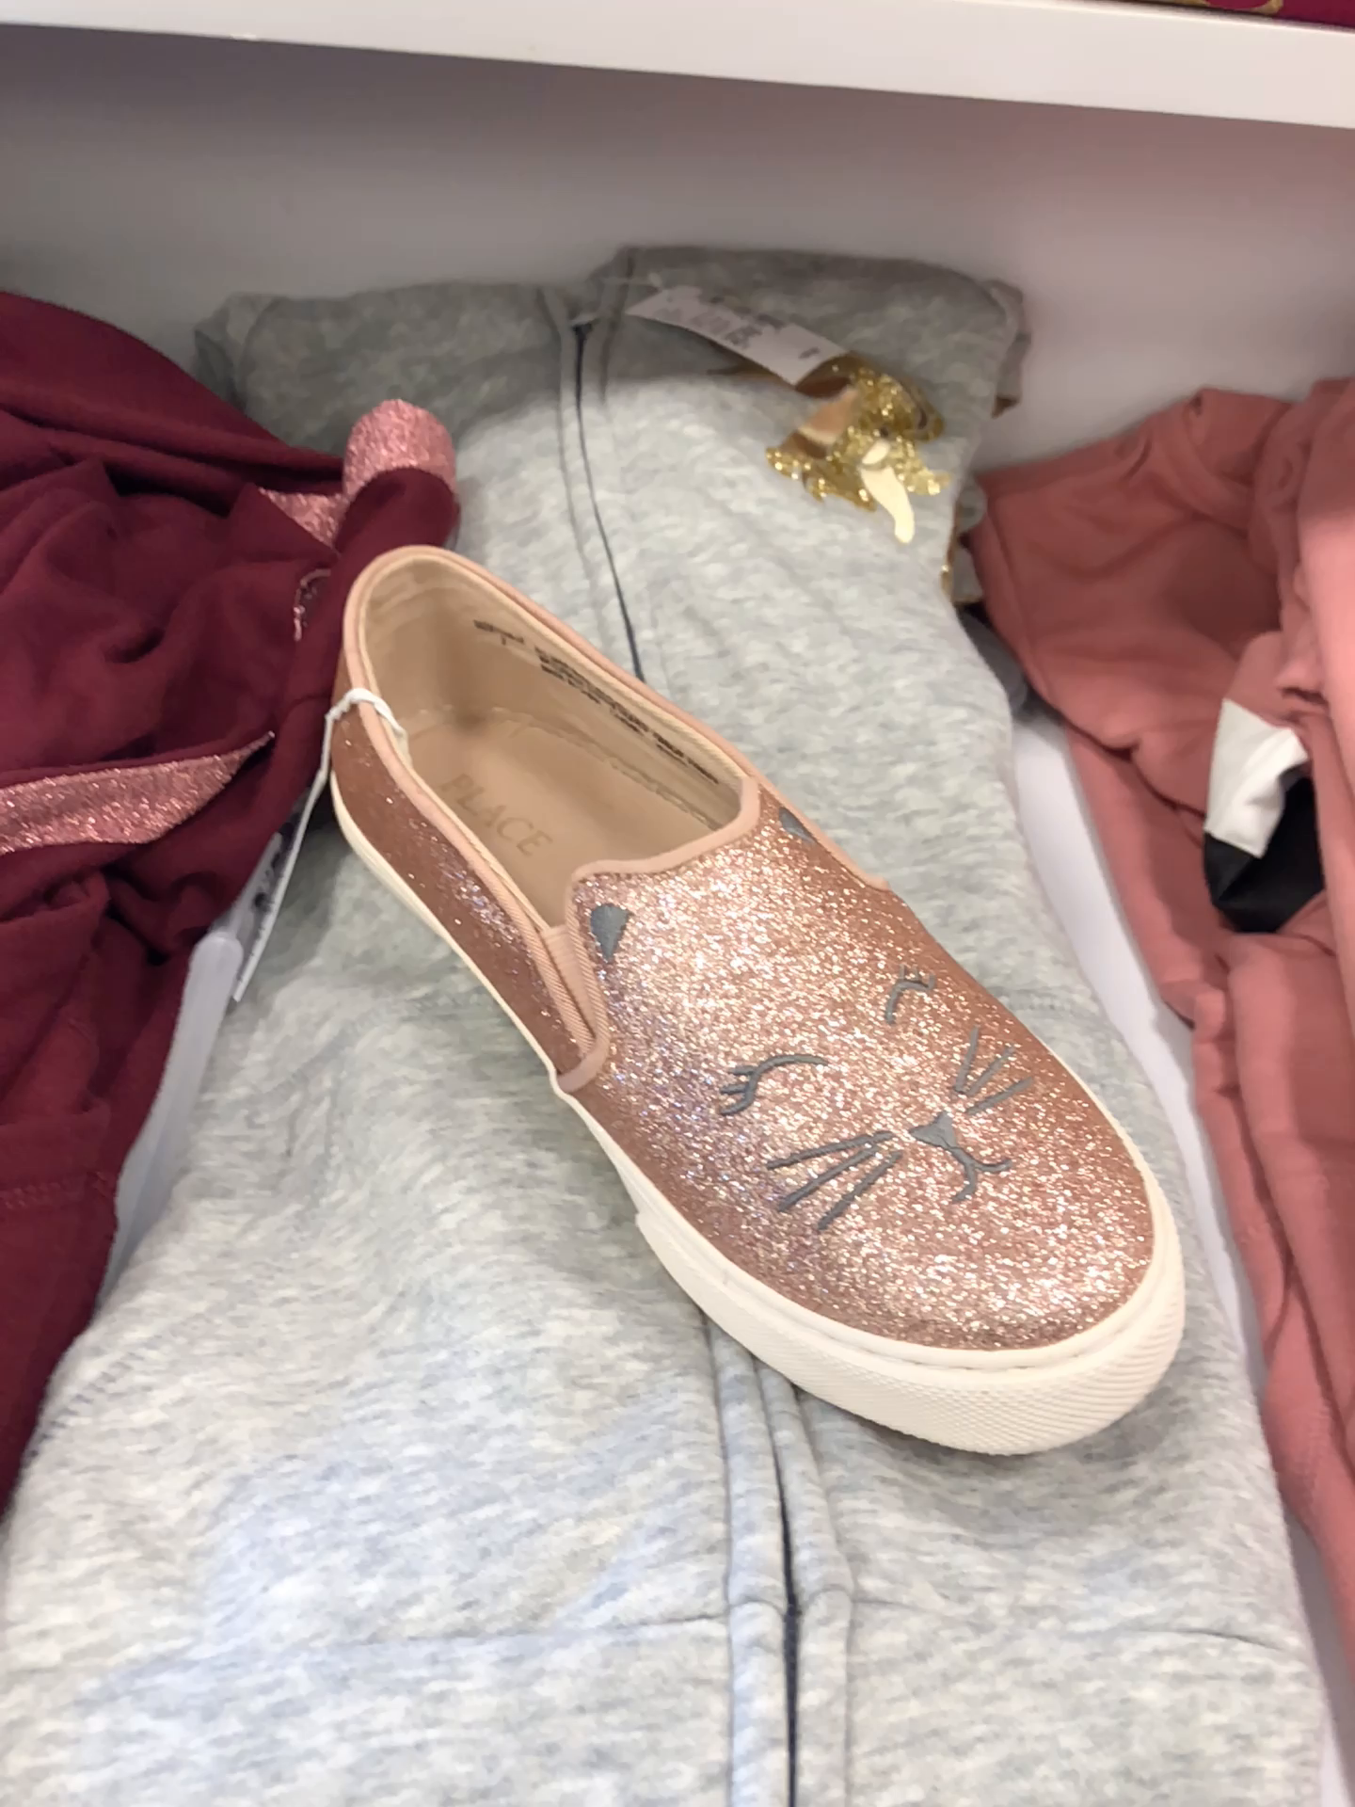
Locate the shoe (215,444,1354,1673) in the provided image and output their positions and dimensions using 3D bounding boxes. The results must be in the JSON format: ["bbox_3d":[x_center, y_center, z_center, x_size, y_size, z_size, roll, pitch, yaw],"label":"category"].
[{"bbox_3d":[0.008,0.005,0.282,0.090,0.080,0.221,-24,49,-28],"label":"shoe"}]
